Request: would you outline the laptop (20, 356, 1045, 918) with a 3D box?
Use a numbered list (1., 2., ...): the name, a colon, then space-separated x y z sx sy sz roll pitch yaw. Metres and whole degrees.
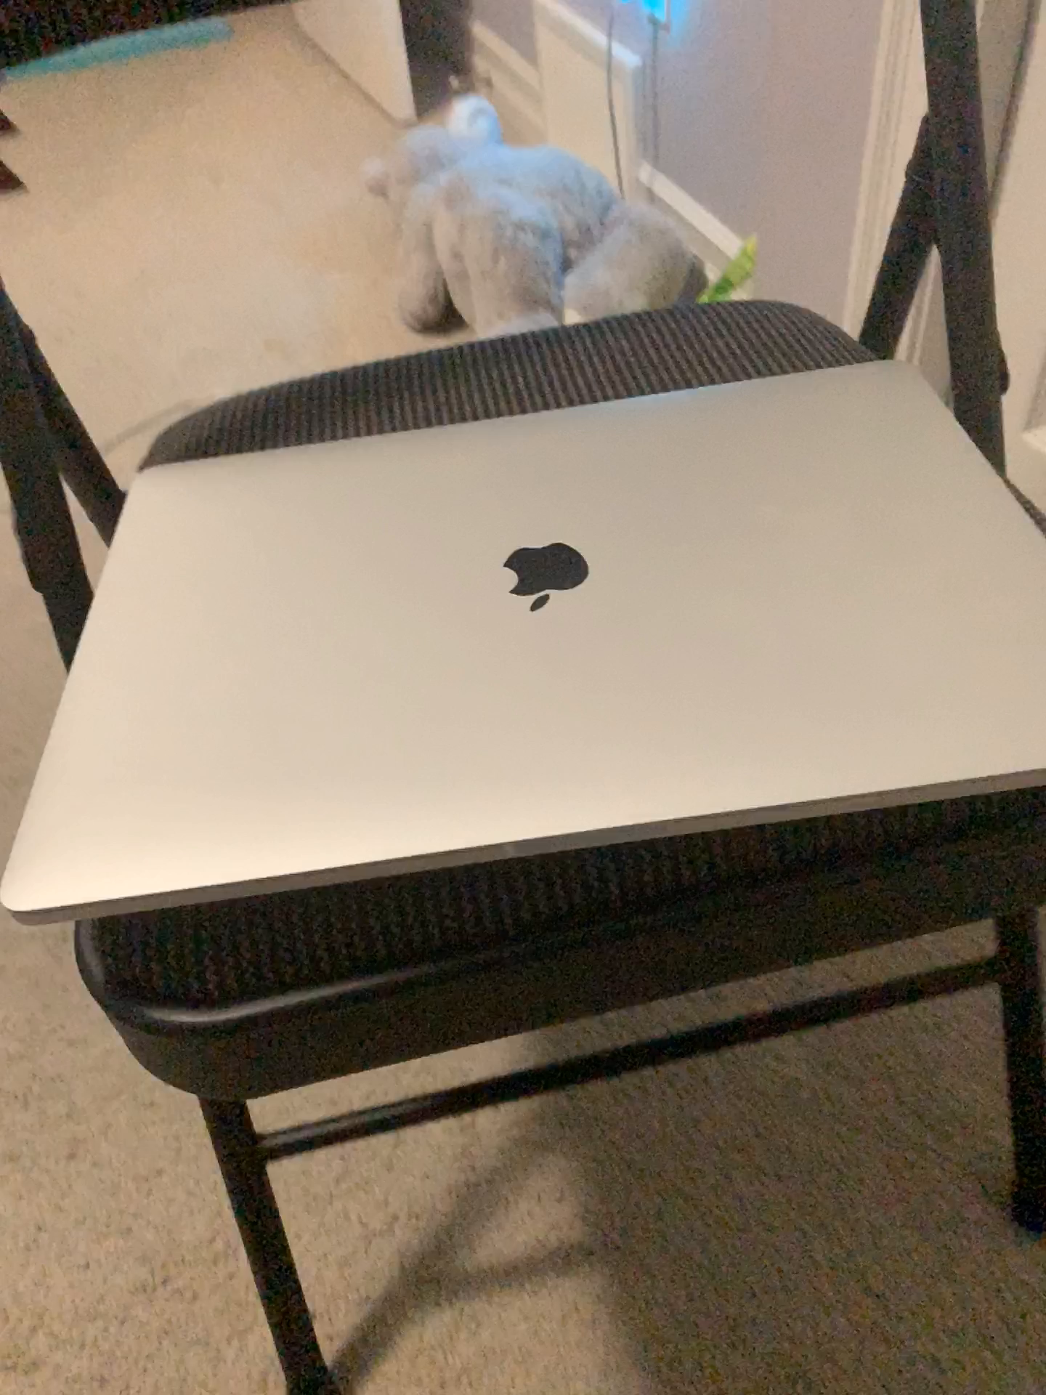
1. laptop: 0.009 -0.041 0.382 0.332 0.001 0.225 -8 46 1
